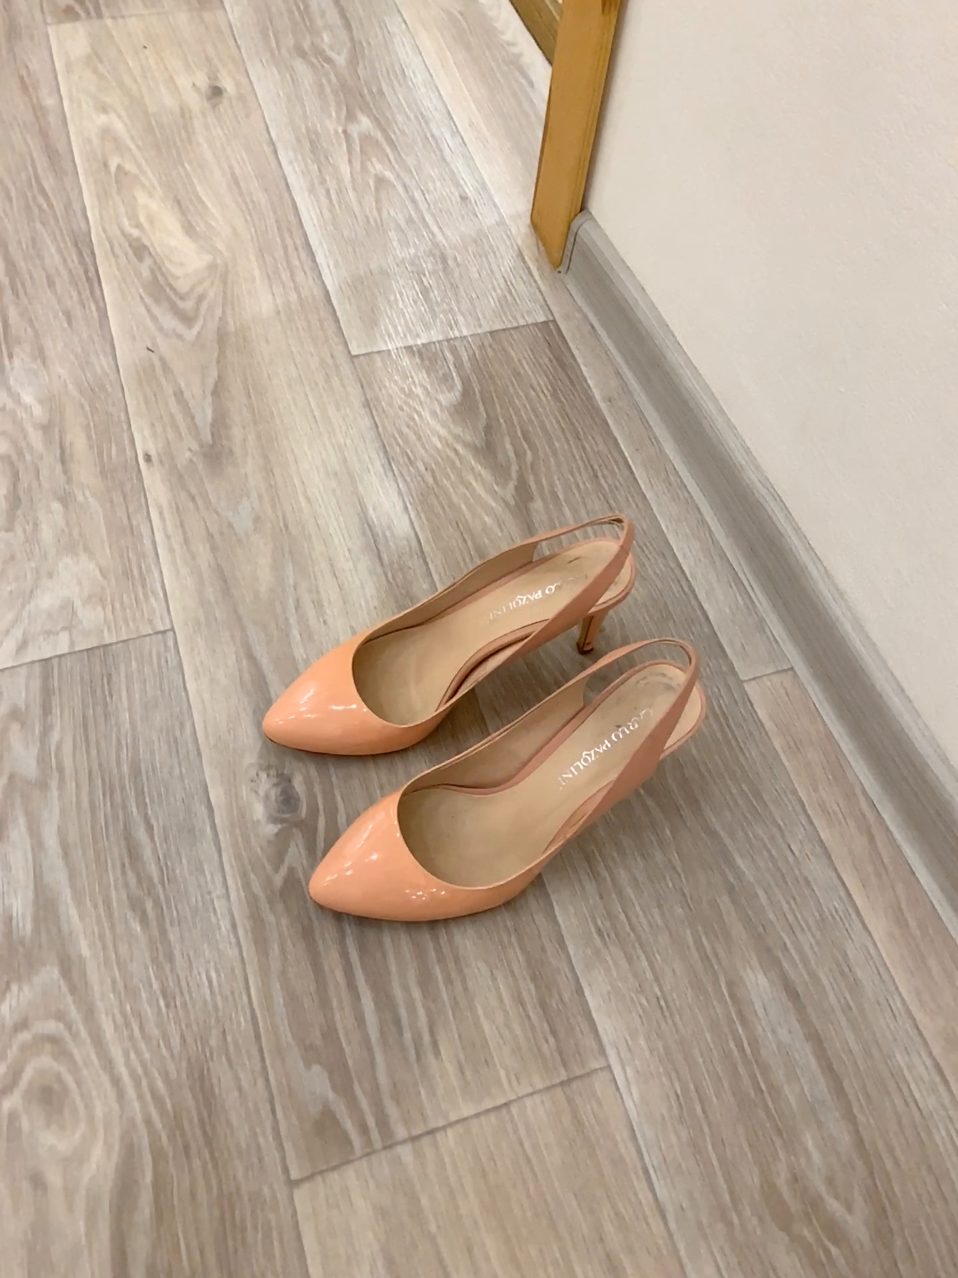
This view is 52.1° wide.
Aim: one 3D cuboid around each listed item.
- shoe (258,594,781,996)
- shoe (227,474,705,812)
[{"bbox_3d":[0.019,0.083,0.525,0.240,0.120,0.090,-21,64,-17],"label":"shoe"},{"bbox_3d":[-0.009,0.003,0.575,0.240,0.120,0.090,-16,62,-14],"label":"shoe"}]
